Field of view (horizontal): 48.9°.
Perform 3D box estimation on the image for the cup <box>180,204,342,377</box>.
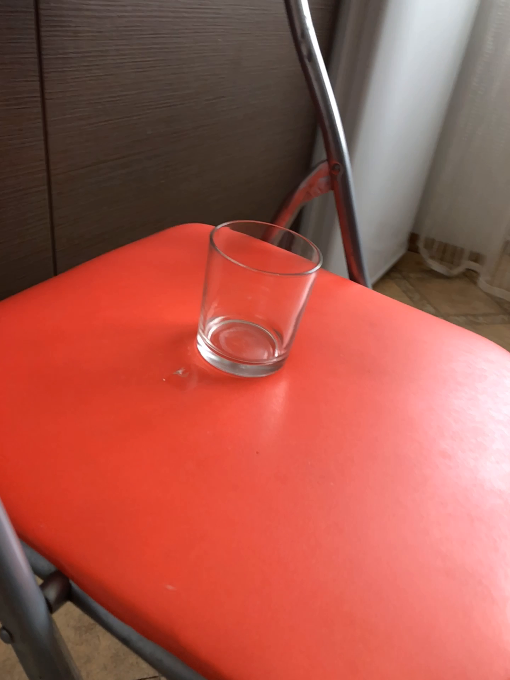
[{"bbox_3d":[-0.002,-0.033,0.373,0.080,0.082,0.078,9,33,-6],"label":"cup"}]
